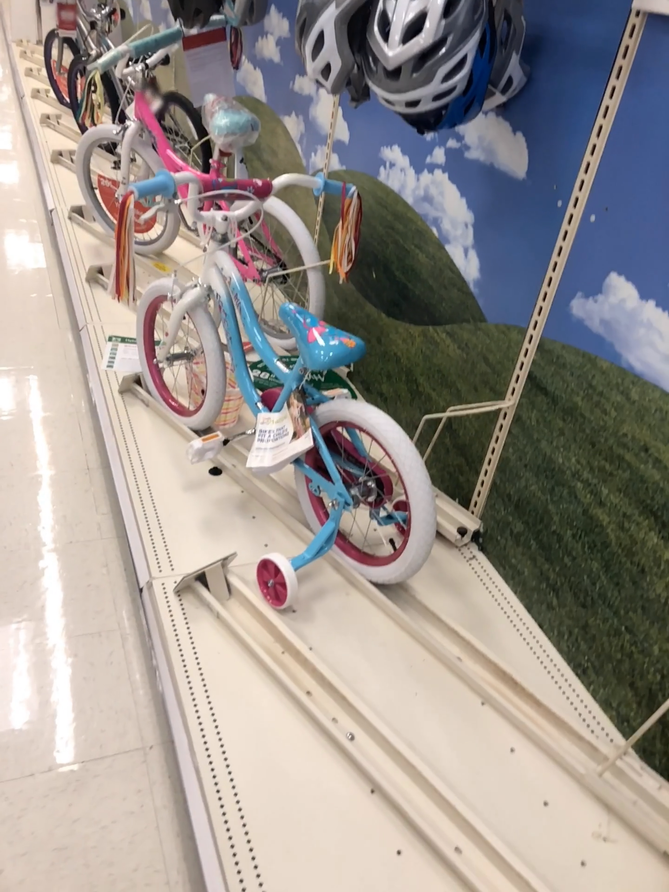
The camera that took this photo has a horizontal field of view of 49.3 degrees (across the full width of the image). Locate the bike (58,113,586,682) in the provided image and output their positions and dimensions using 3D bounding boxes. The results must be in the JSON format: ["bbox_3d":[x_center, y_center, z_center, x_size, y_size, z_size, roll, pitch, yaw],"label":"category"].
[{"bbox_3d":[-0.125,-0.224,1.669,0.534,0.723,1.093,-20,45,-39],"label":"bike"}]
